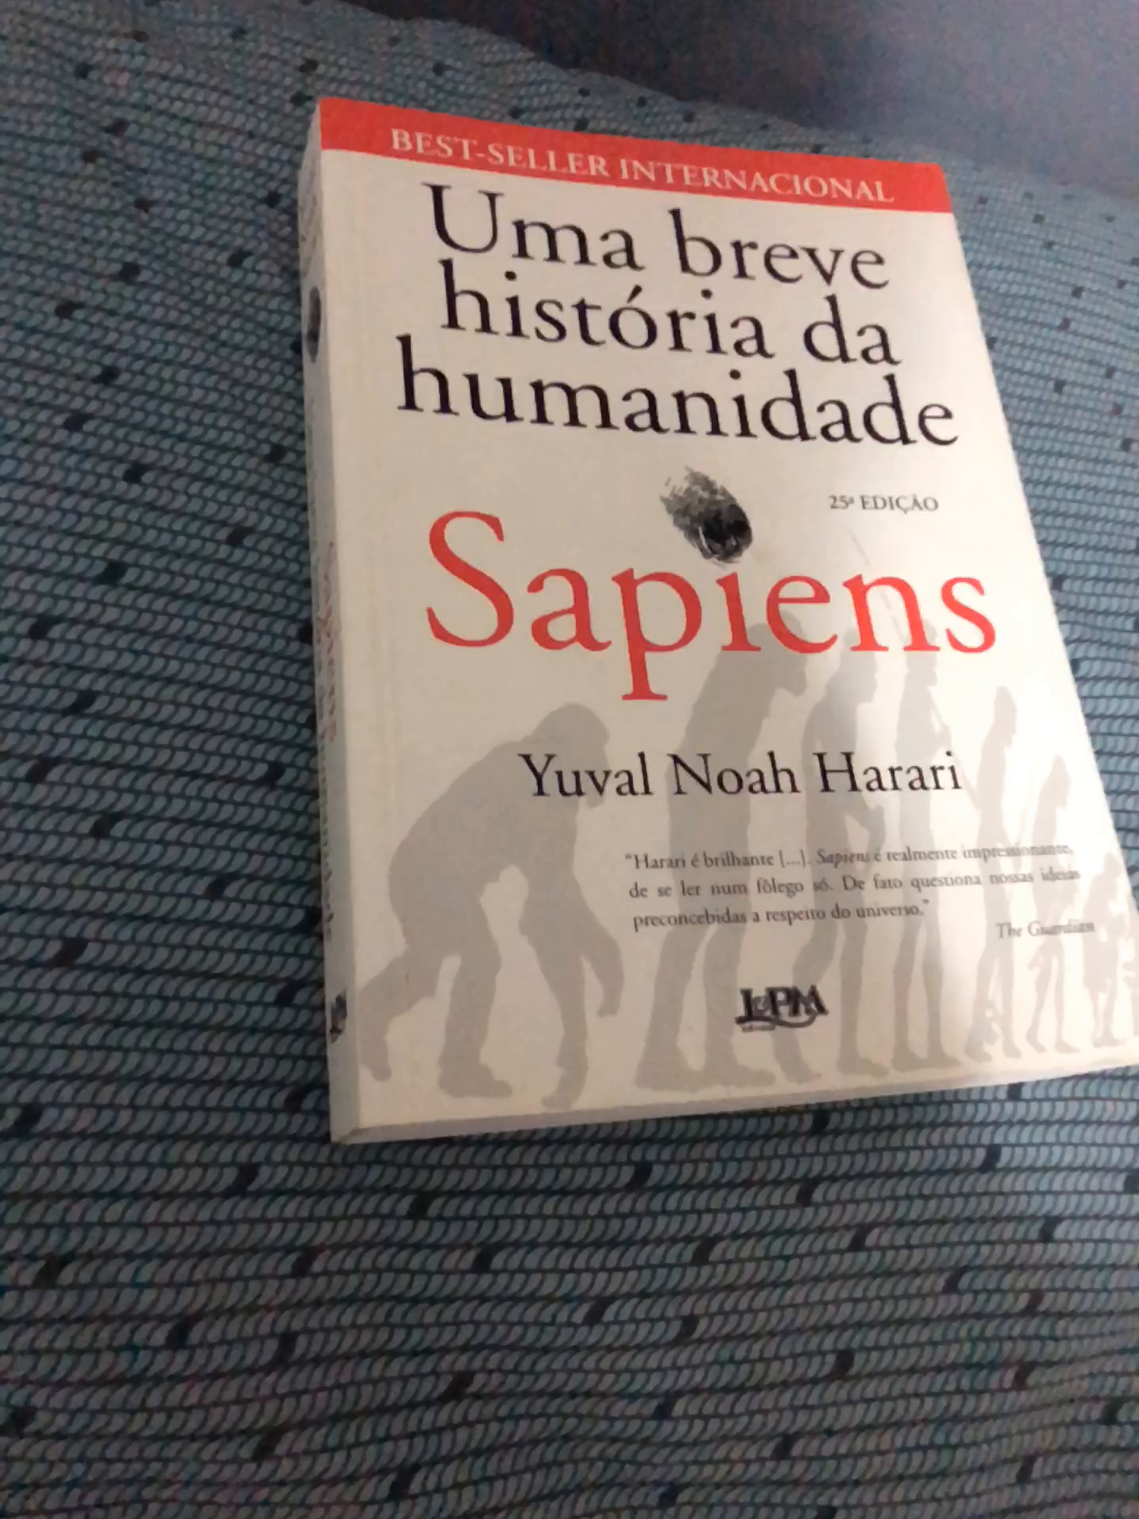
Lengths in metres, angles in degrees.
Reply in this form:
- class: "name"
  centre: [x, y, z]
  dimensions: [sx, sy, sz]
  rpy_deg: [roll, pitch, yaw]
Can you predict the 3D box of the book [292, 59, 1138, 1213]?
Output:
- class: "book"
  centre: [0.026, -0.038, 0.279]
  dimensions: [0.160, 0.040, 0.241]
  rpy_deg: [-1, 68, -16]
